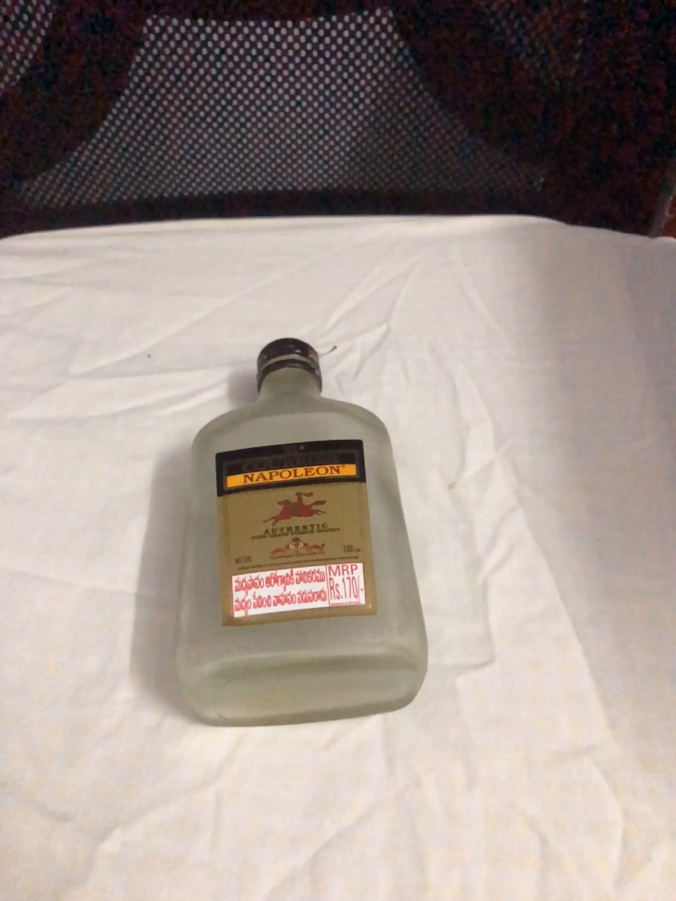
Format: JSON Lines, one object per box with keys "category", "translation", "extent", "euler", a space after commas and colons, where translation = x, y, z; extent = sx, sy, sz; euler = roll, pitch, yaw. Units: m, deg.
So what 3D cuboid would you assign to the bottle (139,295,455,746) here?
{"category": "bottle", "translation": [-0.016, 0.011, 0.261], "extent": [0.080, 0.040, 0.161], "euler": [-4, 46, -3]}
